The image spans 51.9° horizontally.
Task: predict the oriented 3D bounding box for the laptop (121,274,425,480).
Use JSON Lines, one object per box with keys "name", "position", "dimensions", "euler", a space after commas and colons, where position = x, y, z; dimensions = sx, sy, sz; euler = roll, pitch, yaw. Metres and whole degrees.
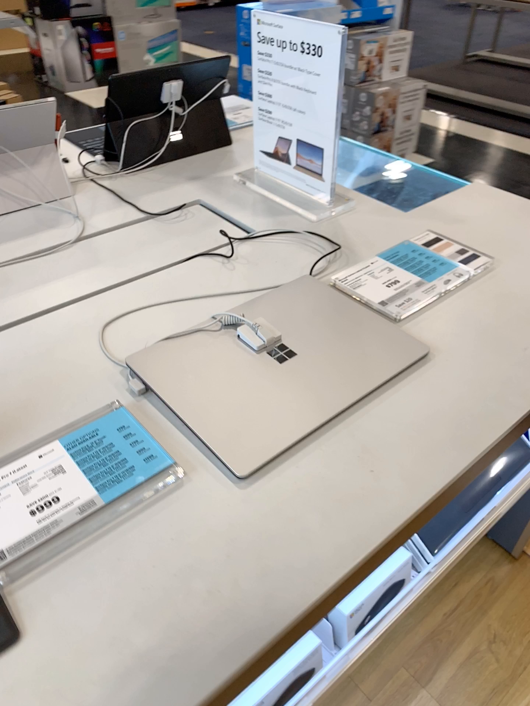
{"name": "laptop", "position": [0.014, 0.003, 0.657], "dimensions": [0.297, 0.008, 0.221], "euler": [-28, 49, -33]}
